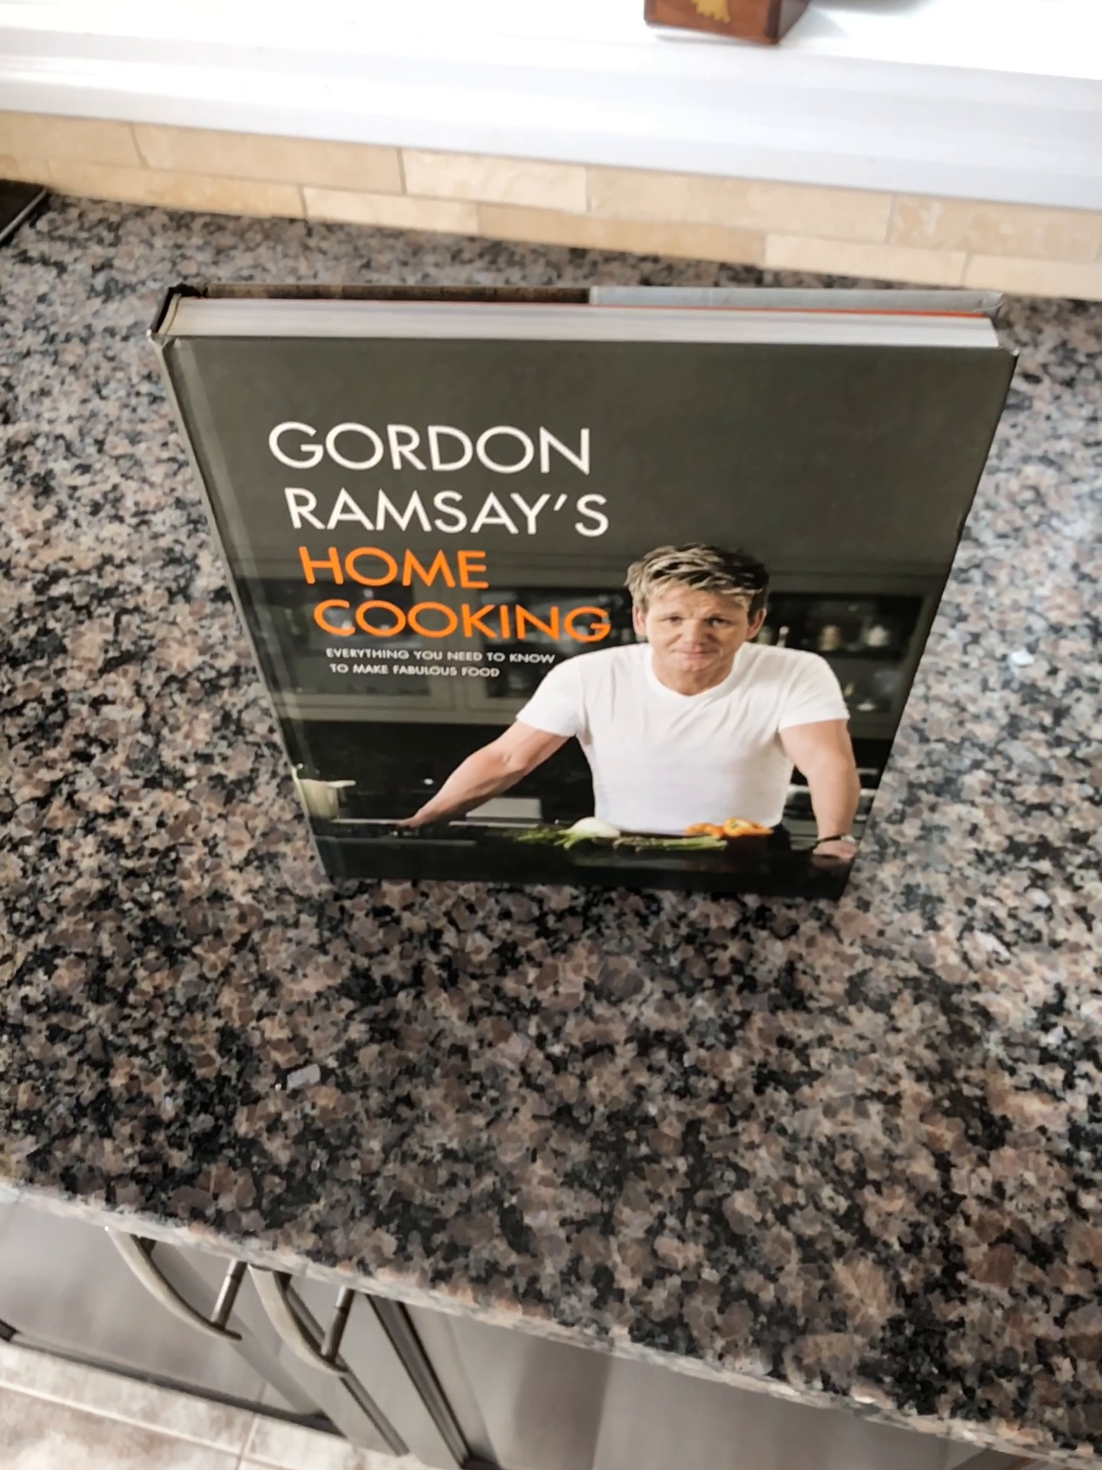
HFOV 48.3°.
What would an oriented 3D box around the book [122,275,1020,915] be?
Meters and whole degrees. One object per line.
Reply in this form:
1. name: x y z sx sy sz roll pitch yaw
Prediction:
1. book: 0.006 -0.024 0.407 0.217 0.261 0.028 2 52 3
